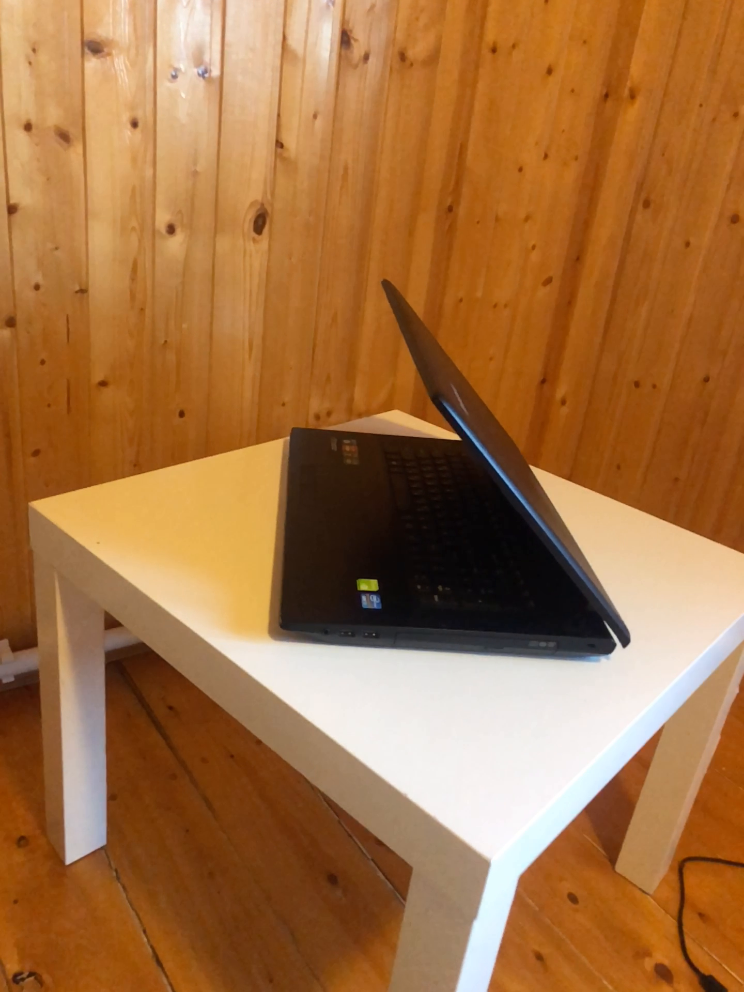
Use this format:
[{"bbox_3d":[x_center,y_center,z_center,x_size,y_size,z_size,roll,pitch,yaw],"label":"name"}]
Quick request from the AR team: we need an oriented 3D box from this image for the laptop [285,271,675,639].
[{"bbox_3d":[0.062,-0.067,0.768,0.260,0.179,0.391,5,26,-7],"label":"laptop"}]
